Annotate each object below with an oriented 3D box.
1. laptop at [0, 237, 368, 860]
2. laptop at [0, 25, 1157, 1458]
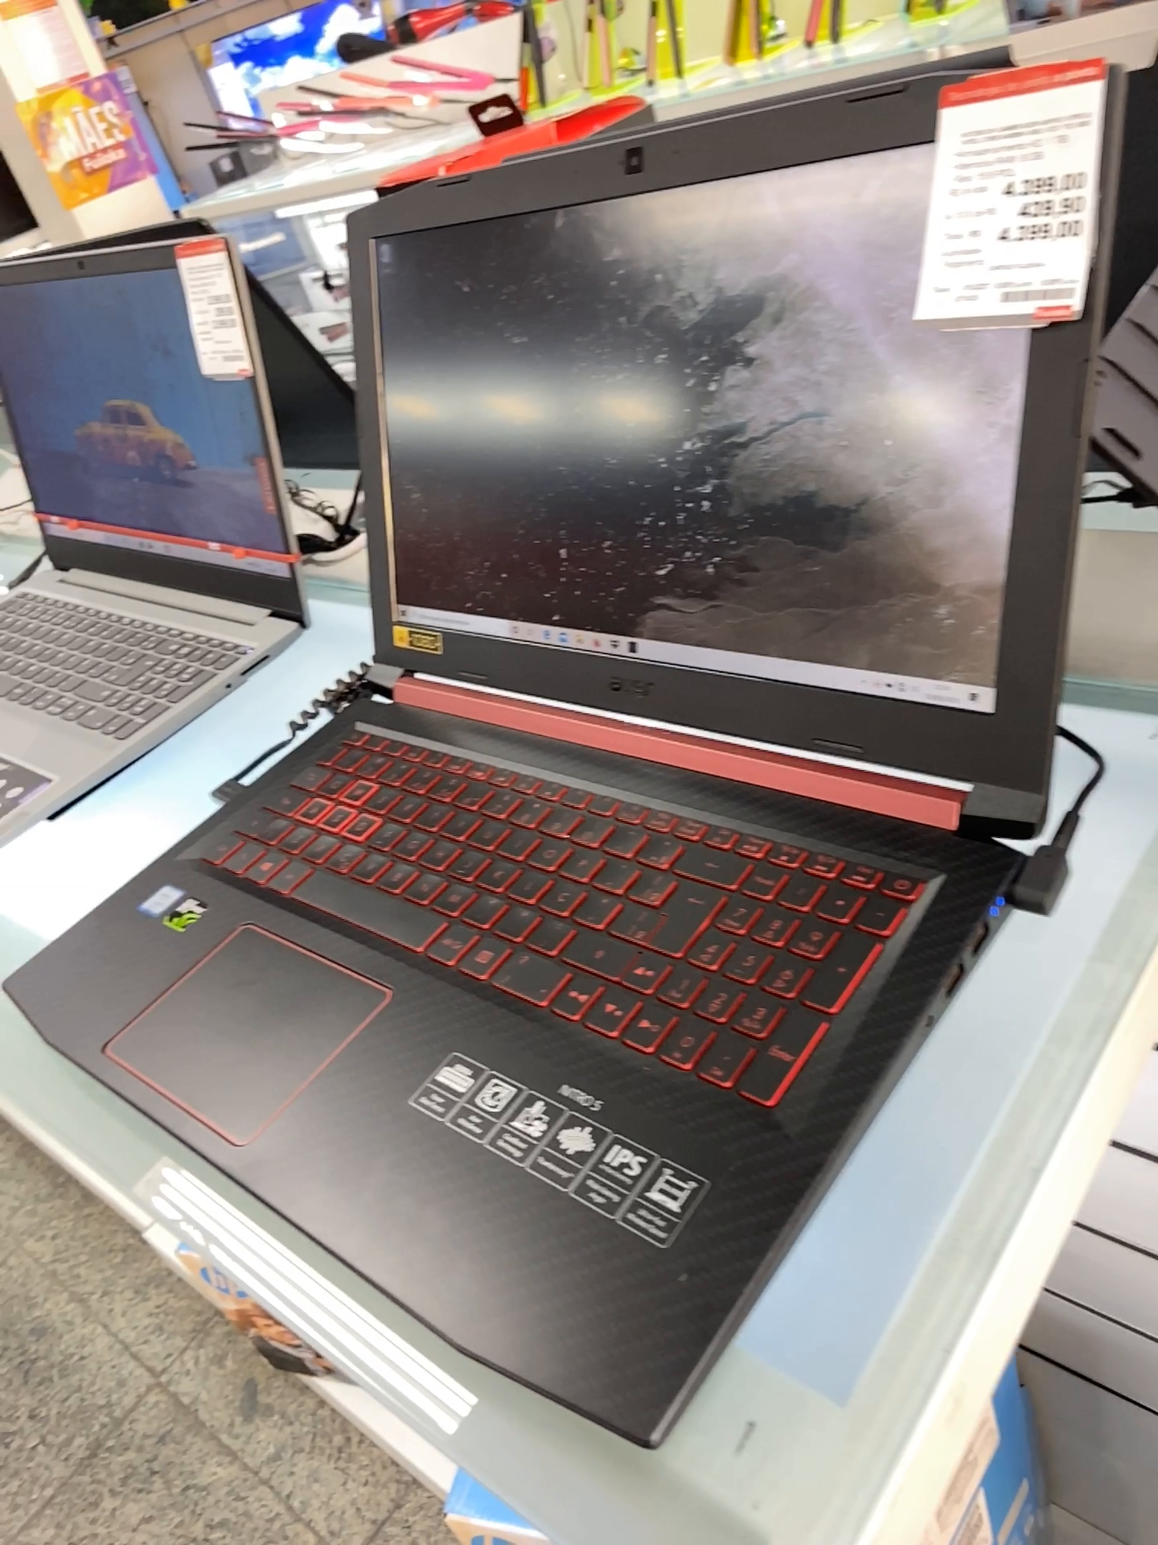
[{"bbox_3d":[-0.411,-0.175,0.809,0.355,0.225,0.323,14,47,39],"label":"laptop"},{"bbox_3d":[-0.050,-0.062,0.455,0.388,0.218,0.361,13,47,41],"label":"laptop"}]
